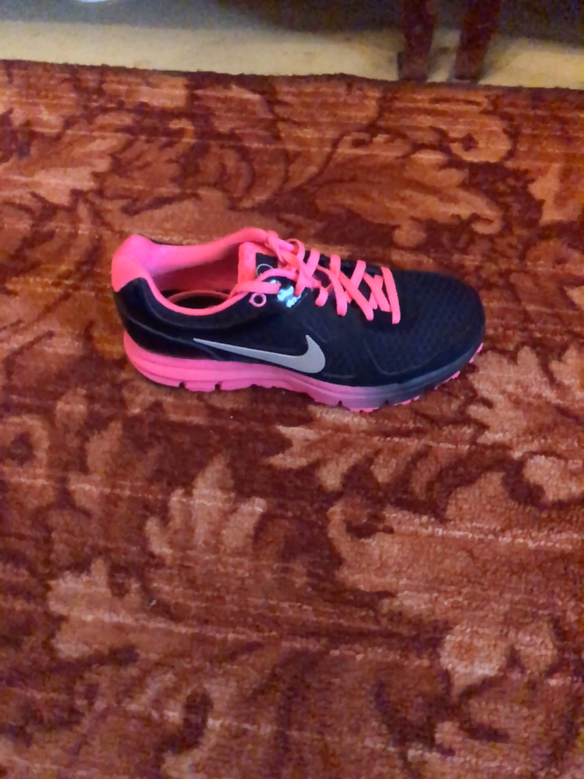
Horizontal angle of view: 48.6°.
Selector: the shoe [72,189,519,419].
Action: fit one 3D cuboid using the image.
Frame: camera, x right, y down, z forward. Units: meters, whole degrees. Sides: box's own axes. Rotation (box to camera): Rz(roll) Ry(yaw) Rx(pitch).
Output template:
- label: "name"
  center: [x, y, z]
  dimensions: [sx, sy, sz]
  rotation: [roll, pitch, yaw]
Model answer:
- label: "shoe"
  center: [0.003, -0.056, 0.433]
  dimensions: [0.250, 0.100, 0.110]
  rotation: [1, 57, 2]
